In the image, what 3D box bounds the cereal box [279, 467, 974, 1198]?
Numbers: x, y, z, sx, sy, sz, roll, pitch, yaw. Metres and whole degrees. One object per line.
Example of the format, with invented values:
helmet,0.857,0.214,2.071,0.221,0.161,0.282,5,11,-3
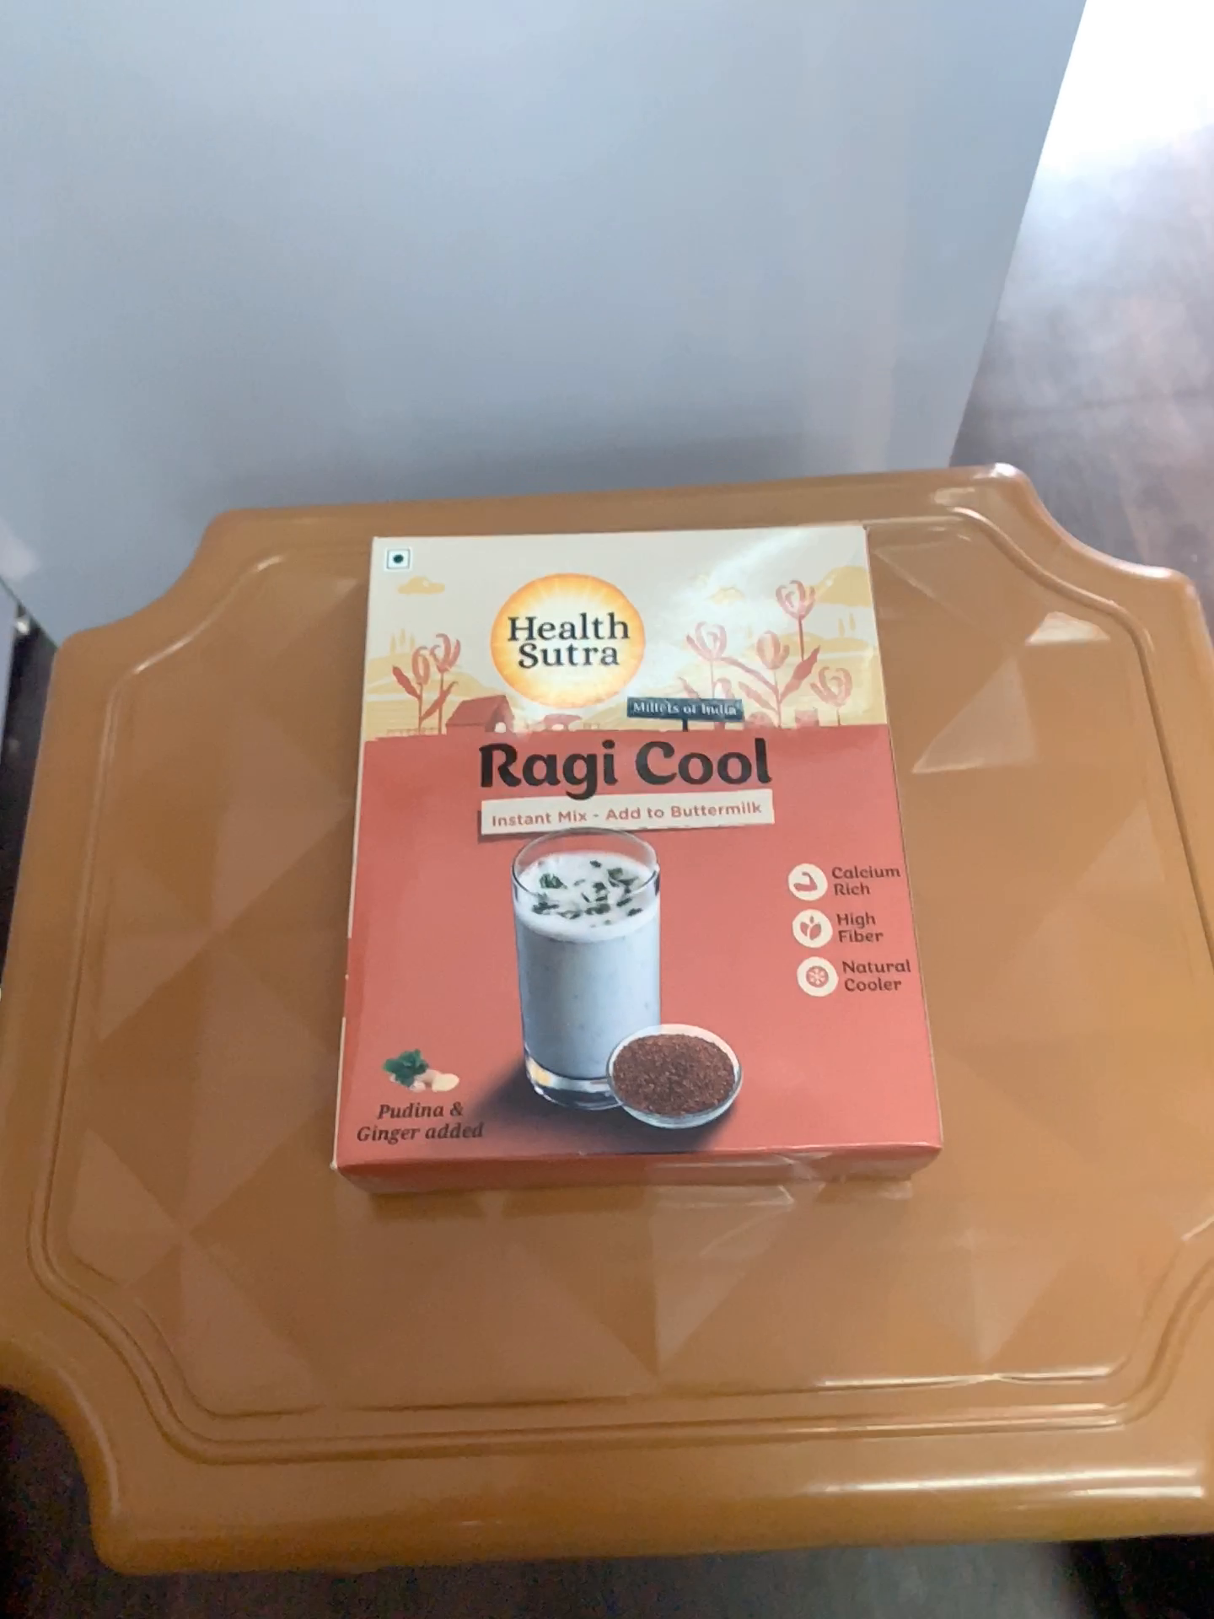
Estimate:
cereal box,0.002,0.001,0.307,0.140,0.040,0.170,-2,66,2
